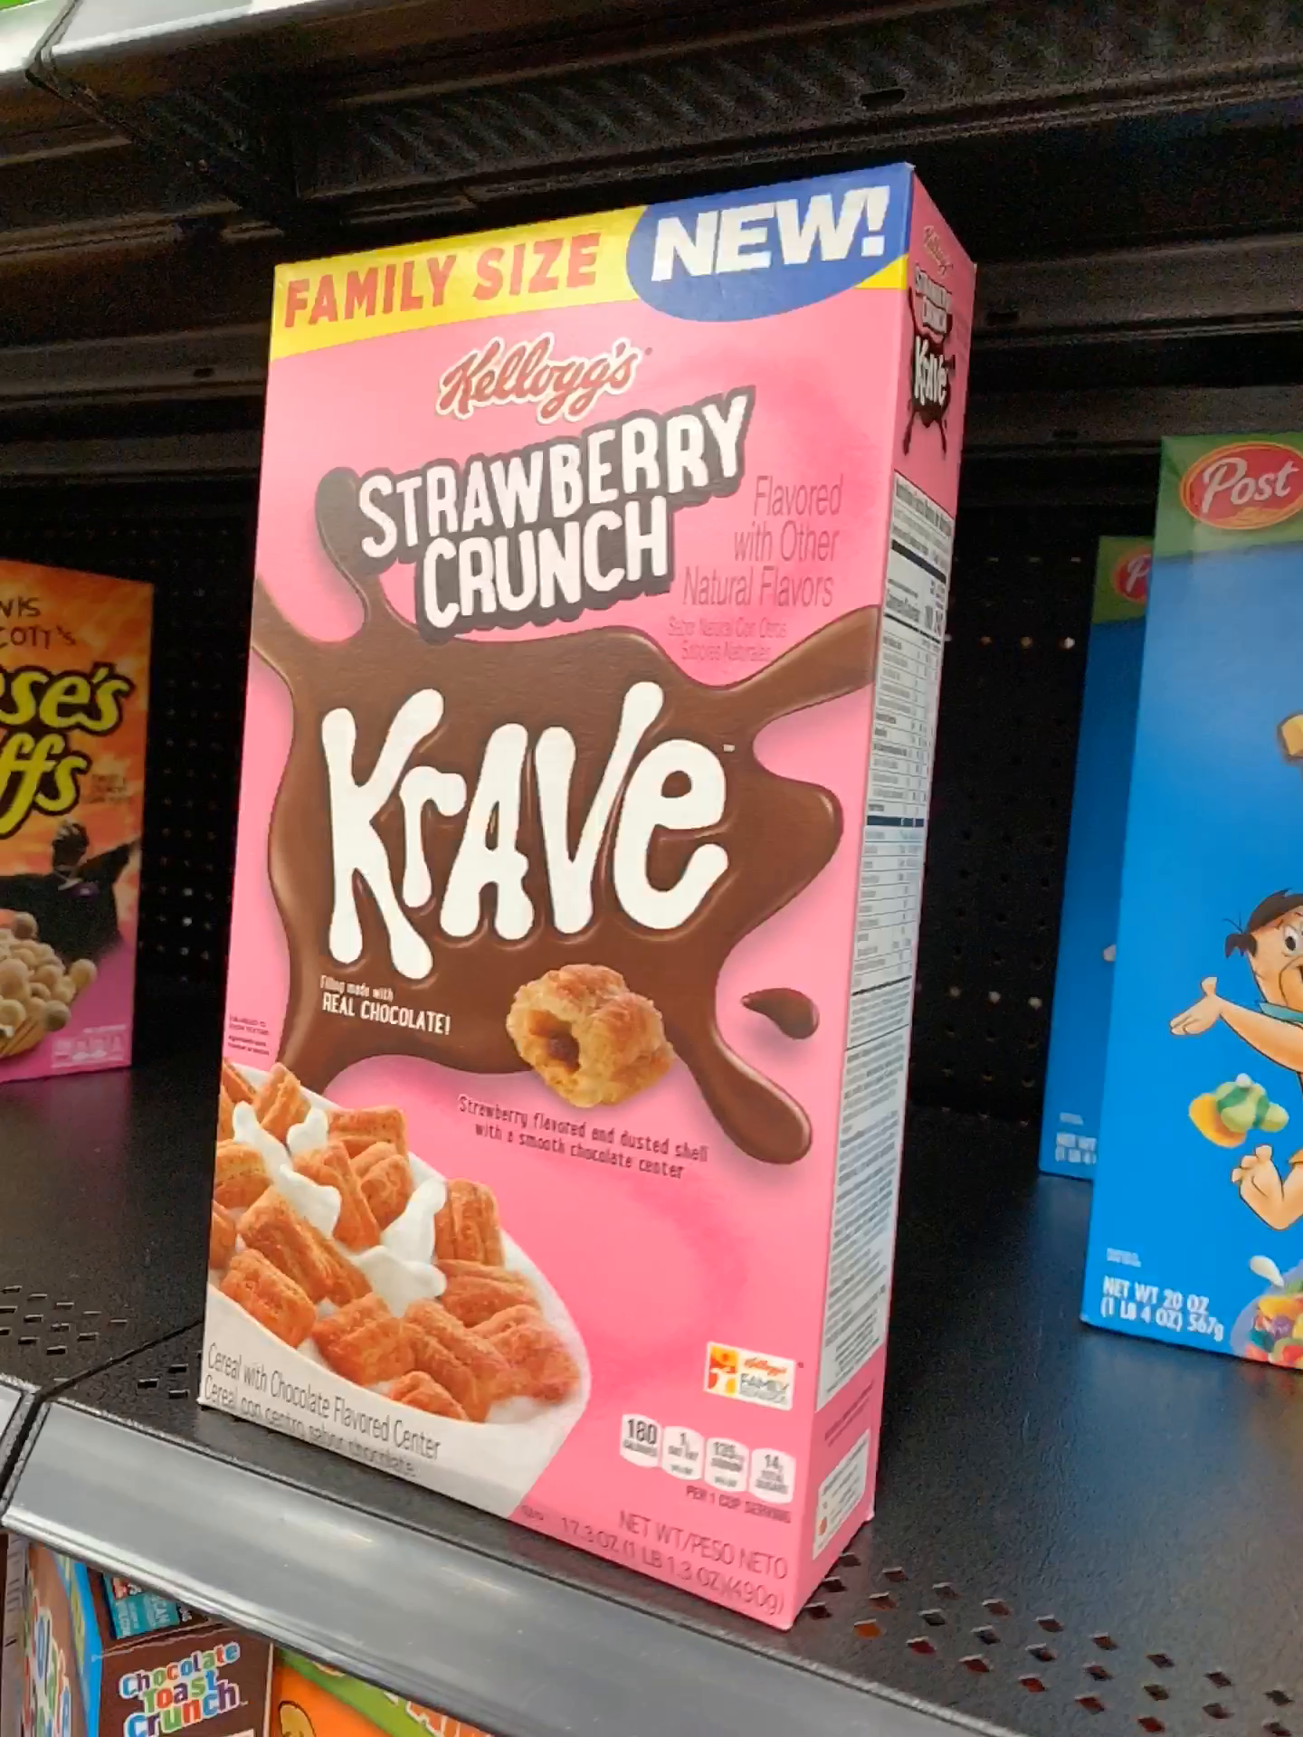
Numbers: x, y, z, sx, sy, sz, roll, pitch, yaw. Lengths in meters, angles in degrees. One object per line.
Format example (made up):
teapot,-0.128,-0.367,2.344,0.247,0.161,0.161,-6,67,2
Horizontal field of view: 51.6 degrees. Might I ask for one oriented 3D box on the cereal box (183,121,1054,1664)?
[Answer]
cereal box,-0.017,-0.002,0.359,0.200,0.330,0.060,6,2,28
